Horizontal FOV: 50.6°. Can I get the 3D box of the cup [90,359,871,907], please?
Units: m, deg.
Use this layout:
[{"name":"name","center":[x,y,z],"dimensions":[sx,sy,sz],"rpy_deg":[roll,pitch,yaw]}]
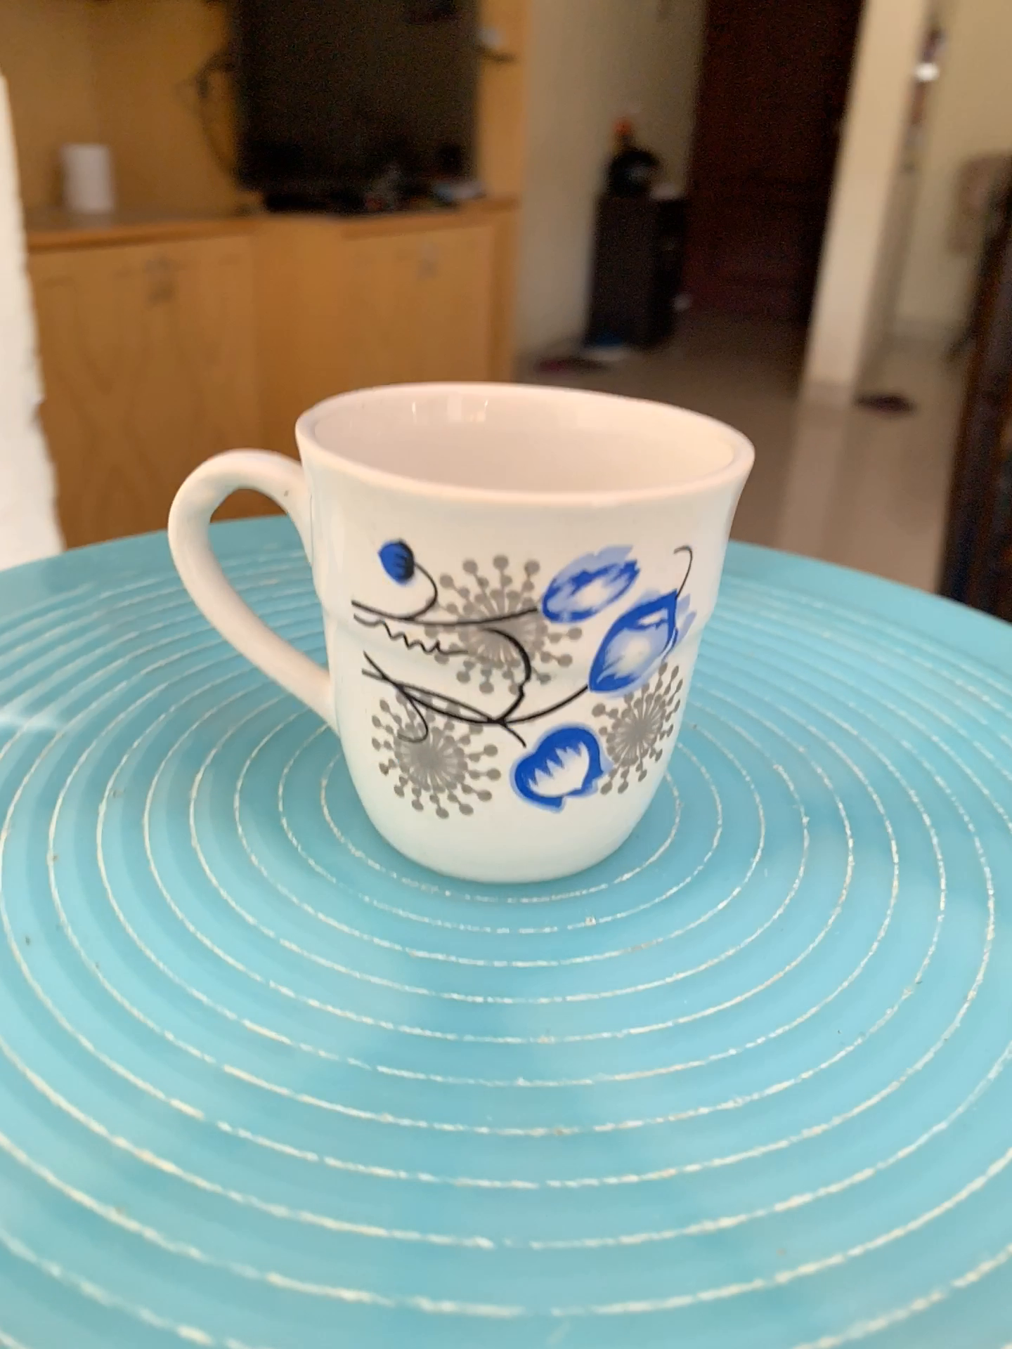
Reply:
[{"name":"cup","center":[-0.006,-0.010,0.167],"dimensions":[0.090,0.060,0.071],"rpy_deg":[1,26,-5]}]
